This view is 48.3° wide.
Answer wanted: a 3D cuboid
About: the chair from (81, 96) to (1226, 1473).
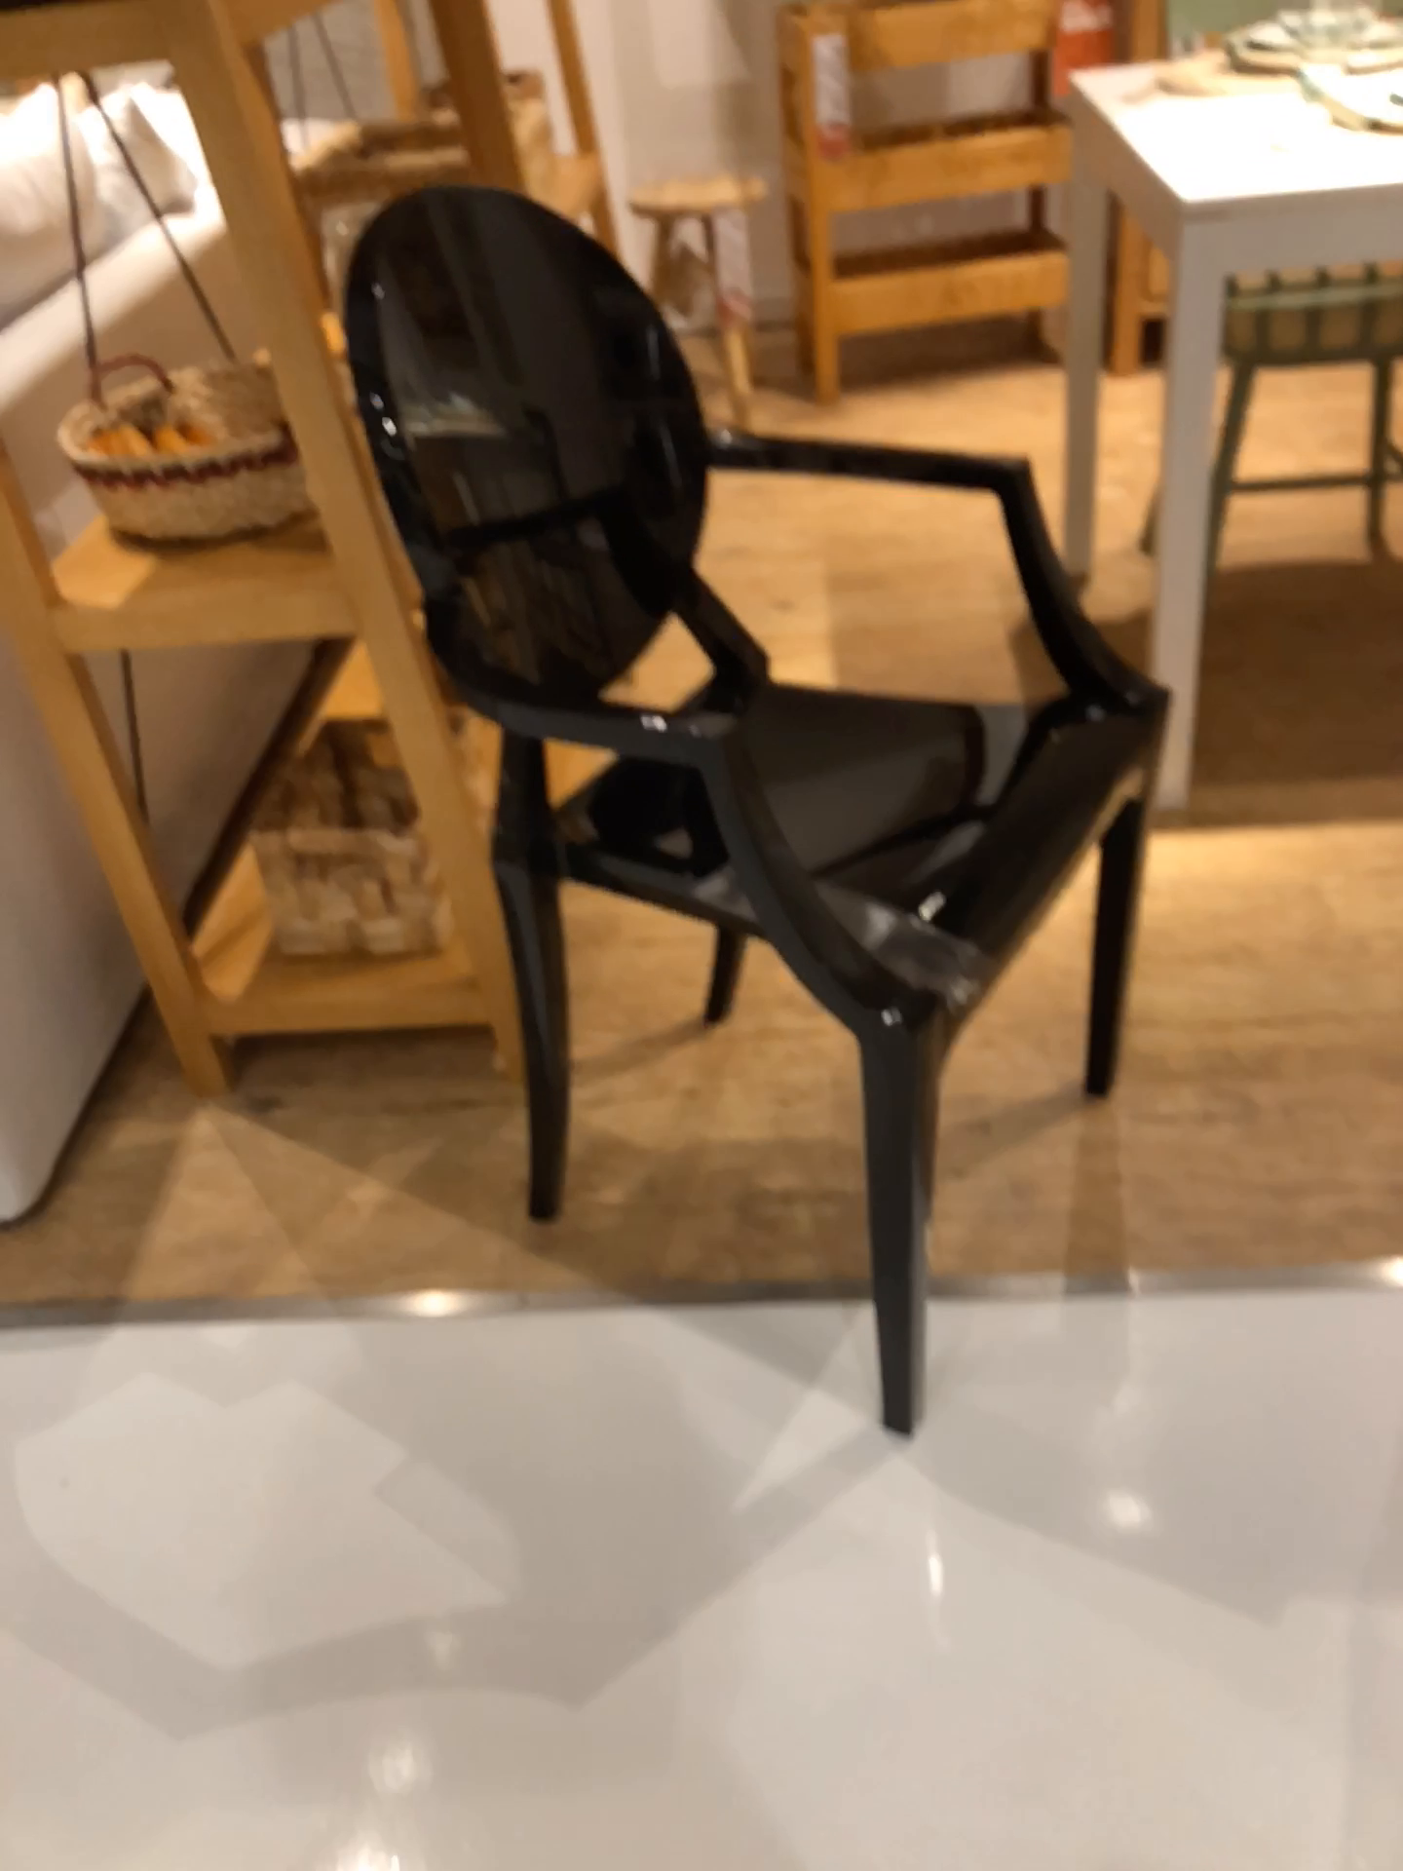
[{"bbox_3d":[0.036,-0.142,1.314,0.591,0.903,0.544,12,40,25],"label":"chair"}]
